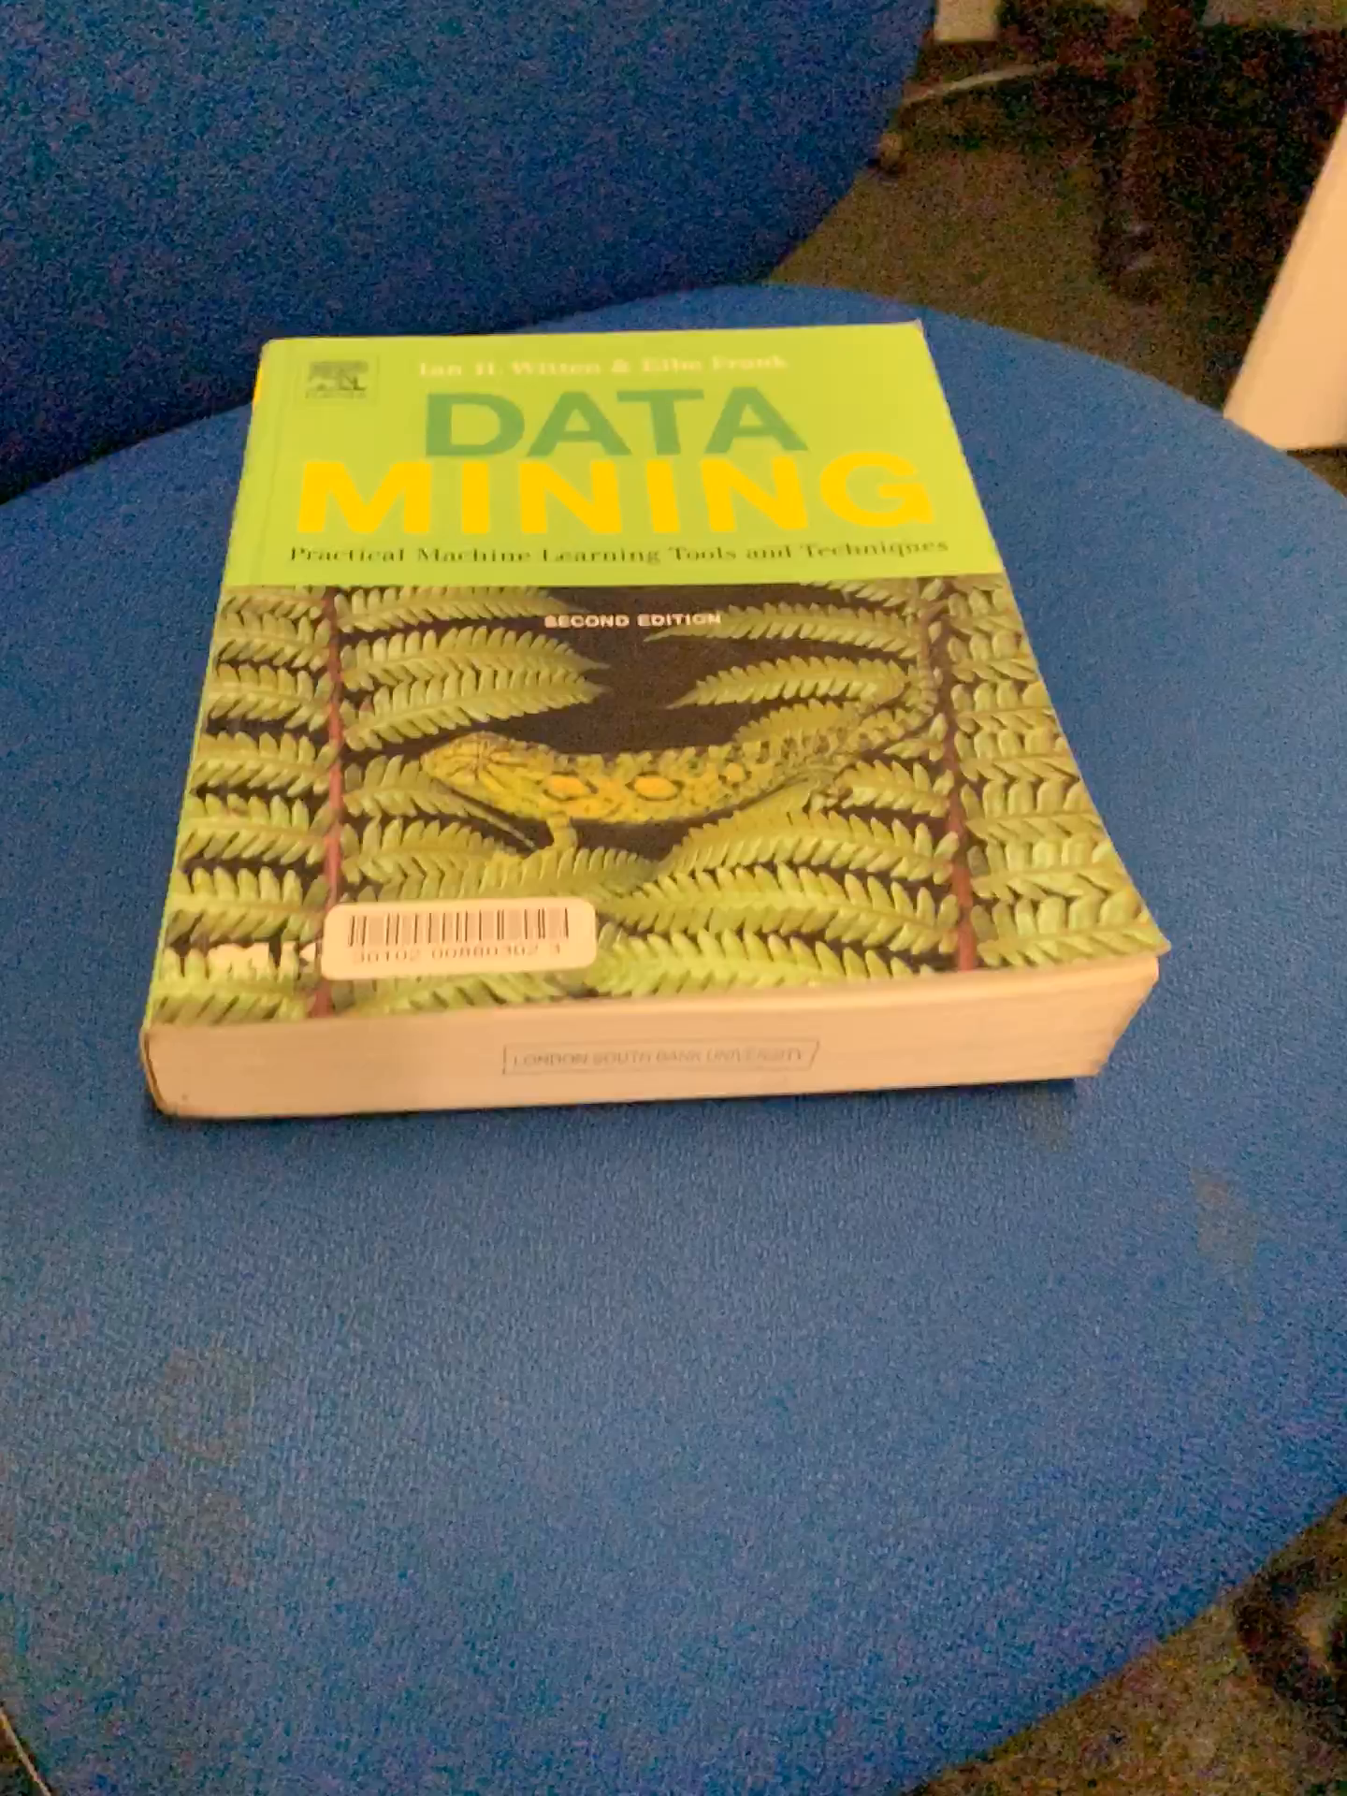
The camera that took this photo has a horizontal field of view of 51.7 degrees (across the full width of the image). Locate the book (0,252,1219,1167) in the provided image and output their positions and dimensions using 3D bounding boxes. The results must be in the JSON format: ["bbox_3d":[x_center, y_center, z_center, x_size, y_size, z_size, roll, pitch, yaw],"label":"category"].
[{"bbox_3d":[-0.025,-0.066,0.332,0.220,0.050,0.242,-4,53,-5],"label":"book"}]
